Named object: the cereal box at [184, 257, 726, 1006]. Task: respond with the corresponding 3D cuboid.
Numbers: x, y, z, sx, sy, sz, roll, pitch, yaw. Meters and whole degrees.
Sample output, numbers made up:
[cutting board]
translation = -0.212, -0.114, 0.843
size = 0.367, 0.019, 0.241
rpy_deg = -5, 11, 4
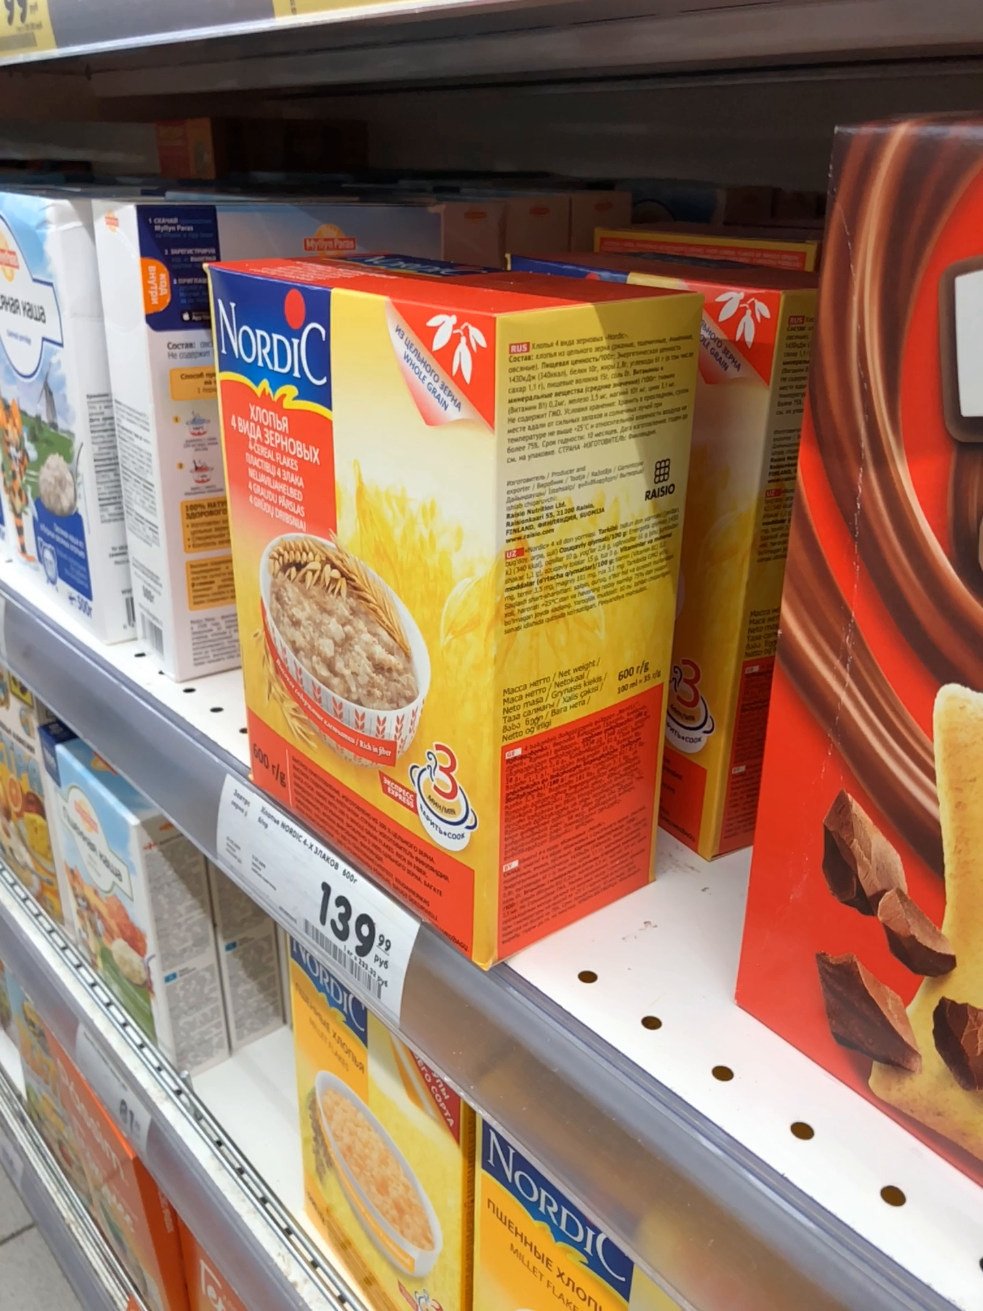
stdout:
[cereal box]
translation = -0.019, -0.021, 0.350
size = 0.080, 0.189, 0.150
rpy_deg = -18, 30, -36
